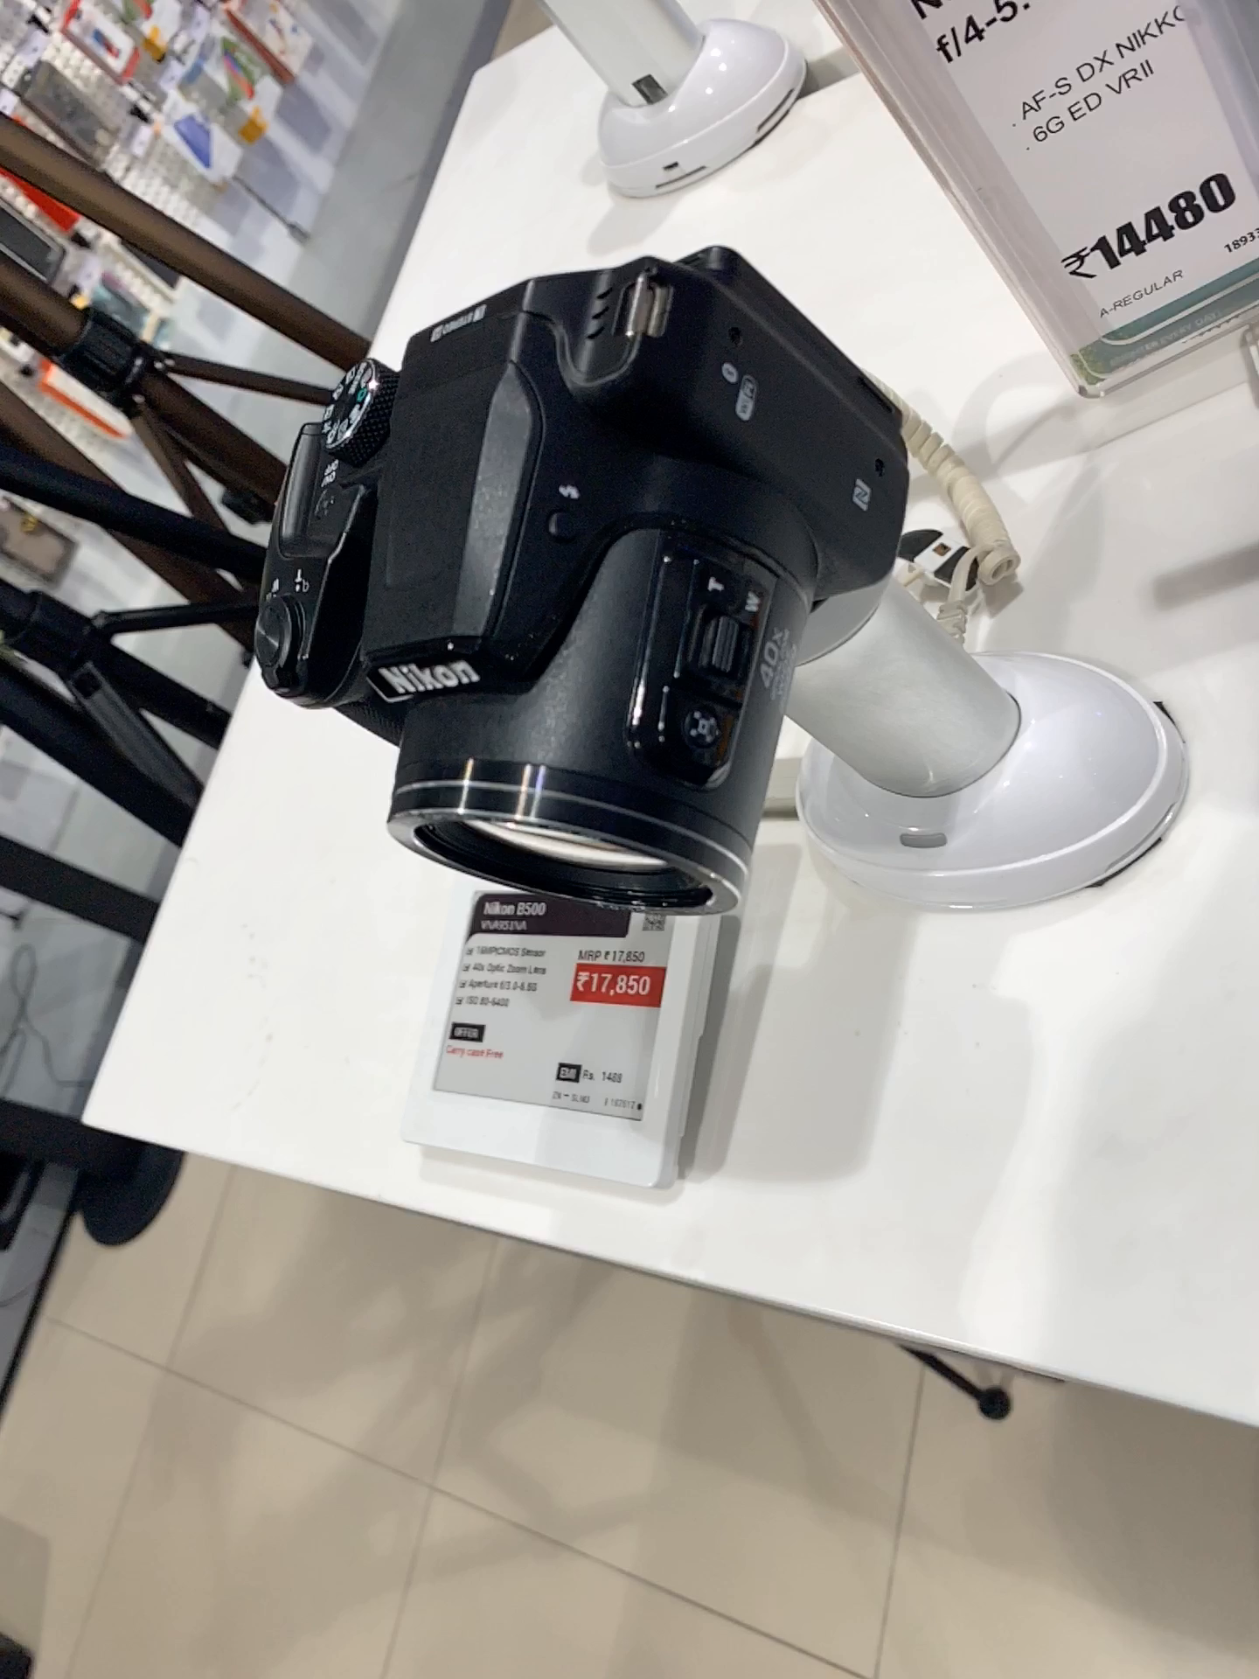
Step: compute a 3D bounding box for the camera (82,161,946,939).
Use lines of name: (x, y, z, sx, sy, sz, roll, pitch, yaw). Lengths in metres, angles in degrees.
camera: (-0.020, -0.034, 0.216, 0.113, 0.070, 0.083, -1, 72, 41)
